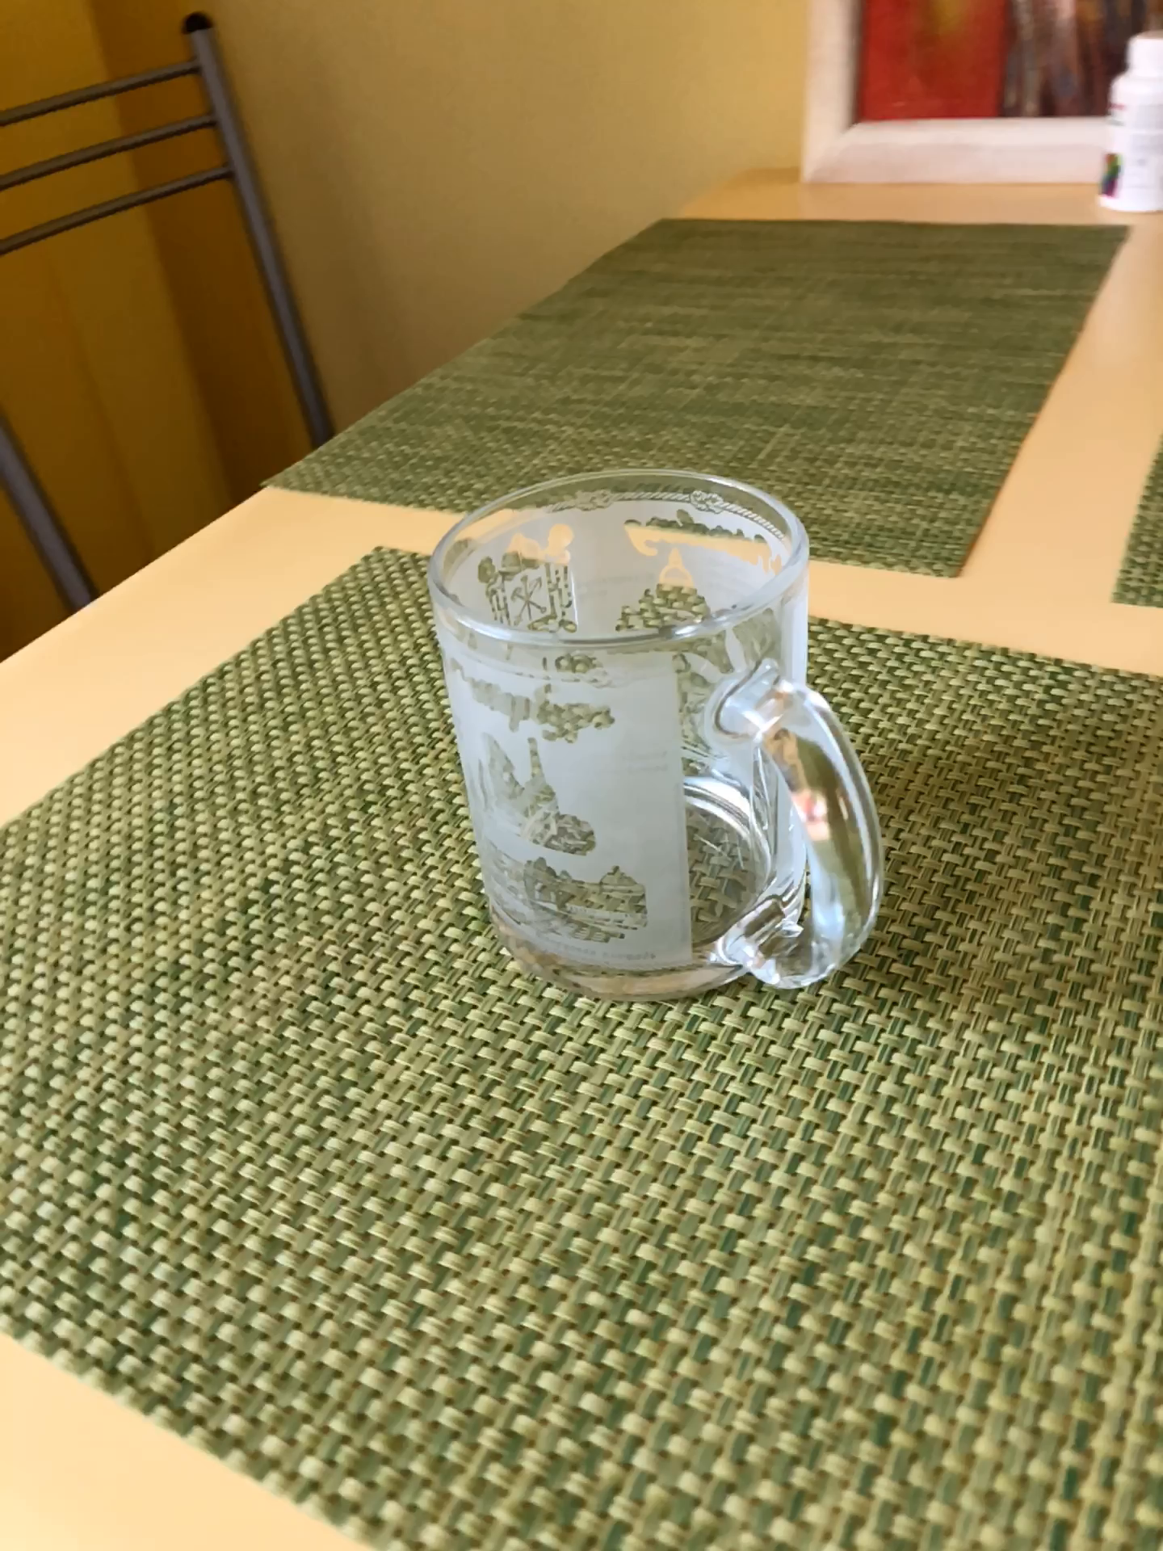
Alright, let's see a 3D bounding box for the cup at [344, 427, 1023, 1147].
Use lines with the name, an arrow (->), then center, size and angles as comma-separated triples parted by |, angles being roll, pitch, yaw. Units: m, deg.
cup -> 0.020, -0.006, 0.287 | 0.087, 0.096, 0.110 | -27, 40, -26
